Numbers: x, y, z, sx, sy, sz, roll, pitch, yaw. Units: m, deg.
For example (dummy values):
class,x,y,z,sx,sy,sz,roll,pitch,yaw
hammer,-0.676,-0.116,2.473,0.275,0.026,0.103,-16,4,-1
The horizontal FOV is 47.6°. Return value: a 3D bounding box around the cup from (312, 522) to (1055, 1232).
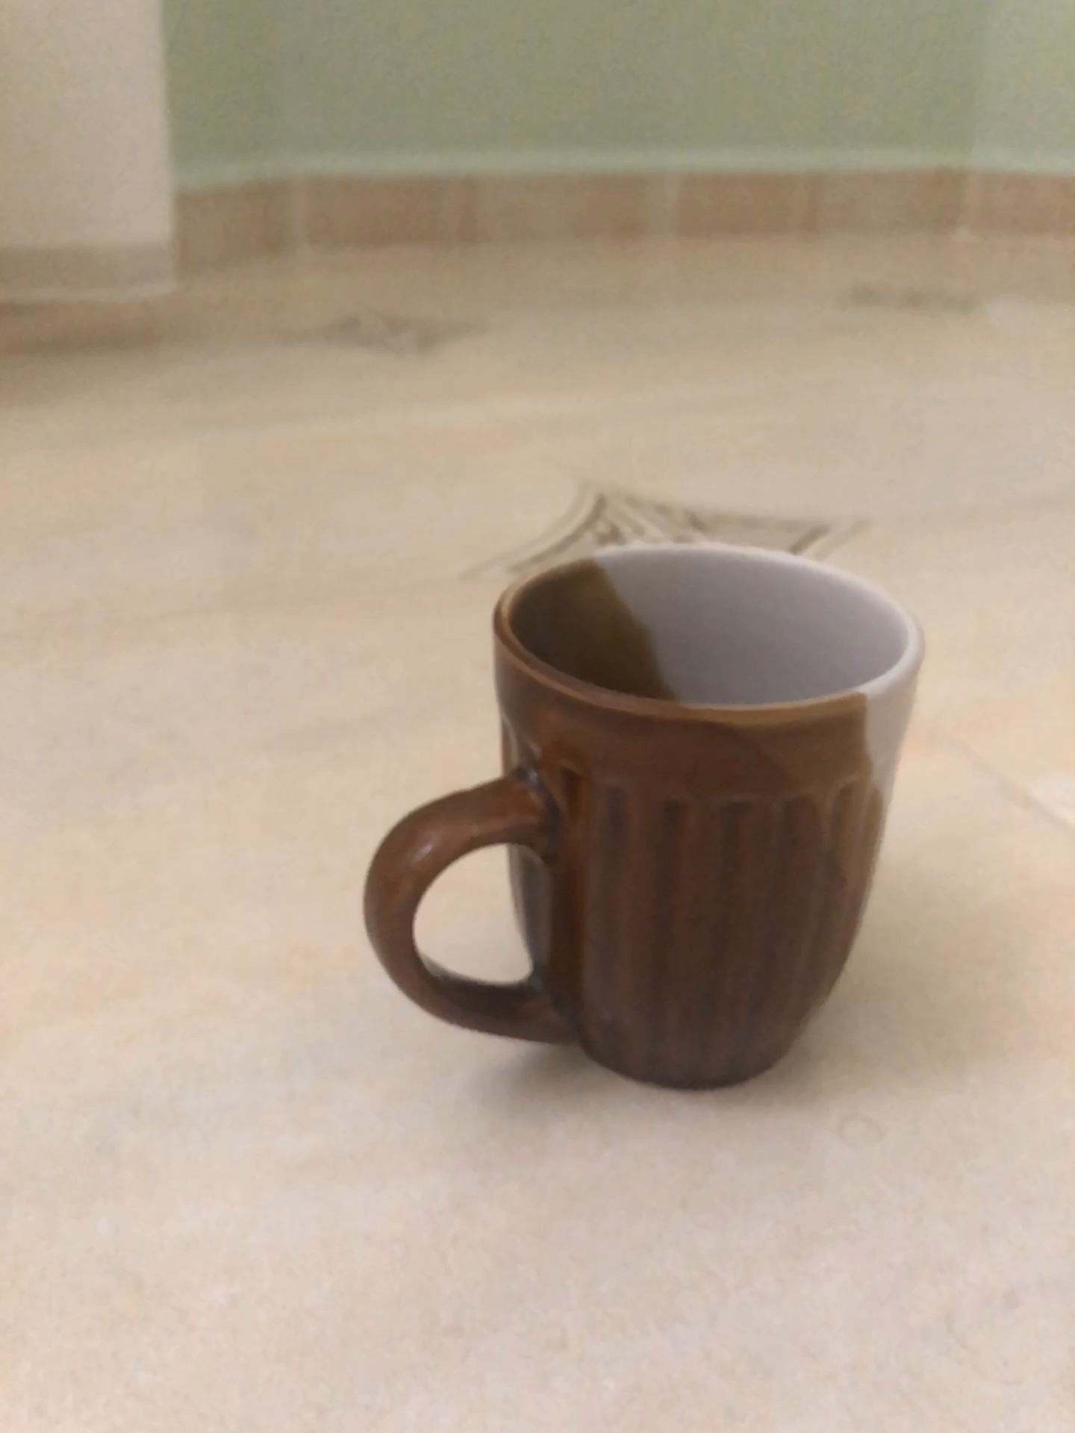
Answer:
class,x,y,z,sx,sy,sz,roll,pitch,yaw
cup,0.019,0.022,0.226,0.103,0.086,0.076,-9,29,-17
